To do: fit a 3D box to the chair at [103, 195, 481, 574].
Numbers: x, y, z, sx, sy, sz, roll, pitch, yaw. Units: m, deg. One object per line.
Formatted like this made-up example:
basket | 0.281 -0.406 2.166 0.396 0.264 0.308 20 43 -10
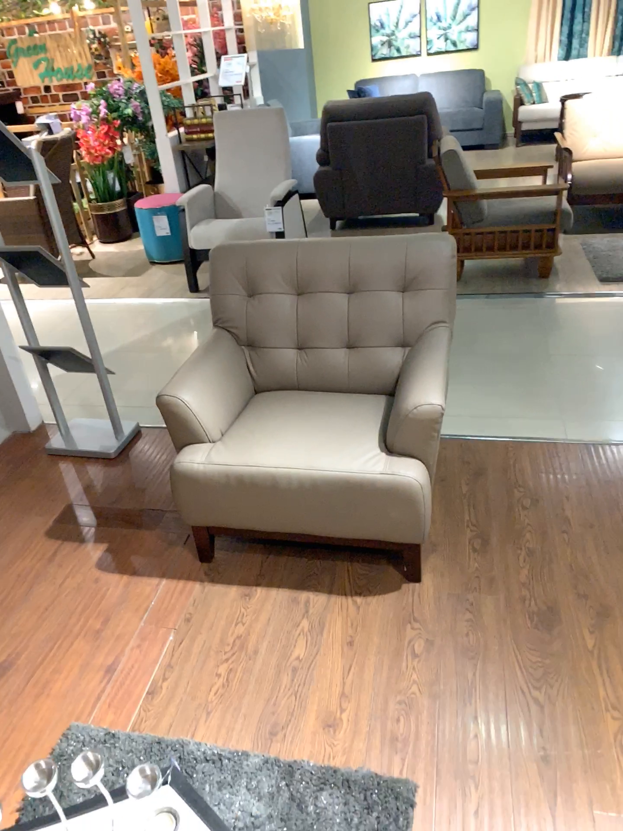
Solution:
chair | 0.055 -0.176 2.182 0.951 0.856 1.004 3 33 12
